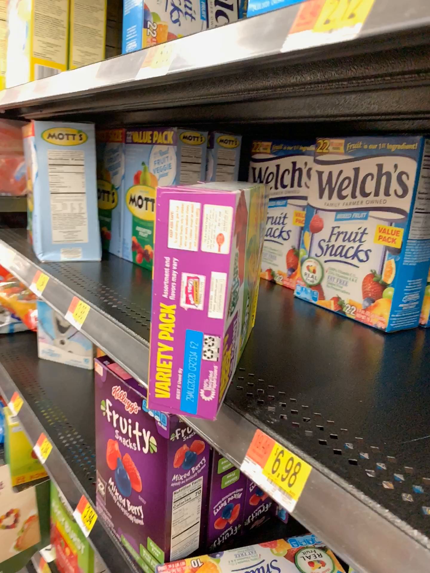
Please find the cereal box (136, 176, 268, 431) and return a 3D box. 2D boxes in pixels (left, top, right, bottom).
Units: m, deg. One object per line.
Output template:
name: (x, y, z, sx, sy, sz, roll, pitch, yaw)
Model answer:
cereal box: (0.000, -0.010, 0.406, 0.060, 0.169, 0.221, 7, 16, 11)
